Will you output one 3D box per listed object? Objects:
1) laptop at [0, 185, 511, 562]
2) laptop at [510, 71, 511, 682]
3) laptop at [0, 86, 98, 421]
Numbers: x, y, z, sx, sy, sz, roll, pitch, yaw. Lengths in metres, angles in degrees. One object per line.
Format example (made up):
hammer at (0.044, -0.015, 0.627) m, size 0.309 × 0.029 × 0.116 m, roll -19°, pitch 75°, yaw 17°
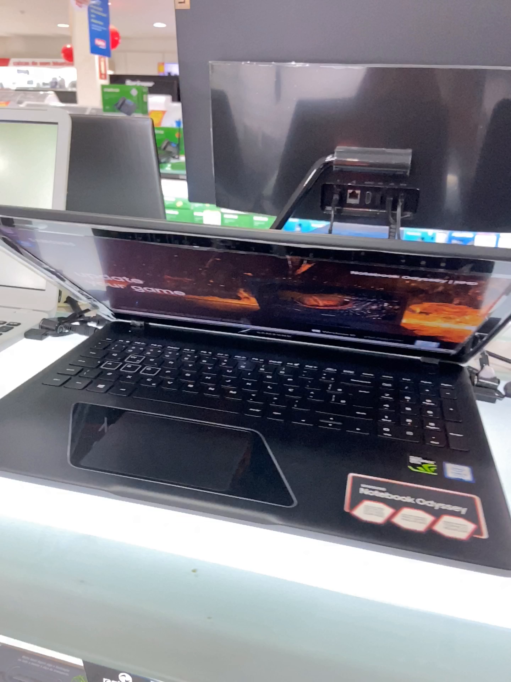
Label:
laptop at (-0.003, -0.021, 0.406) m, size 0.367 × 0.152 × 0.259 m, roll 7°, pitch 22°, yaw 12°
laptop at (0.434, -0.014, 0.335) m, size 0.412 × 0.234 × 0.309 m, roll 8°, pitch 22°, yaw 11°
laptop at (-0.457, -0.131, 0.549) m, size 0.431 × 0.224 × 0.346 m, roll 6°, pitch 23°, yaw 12°
